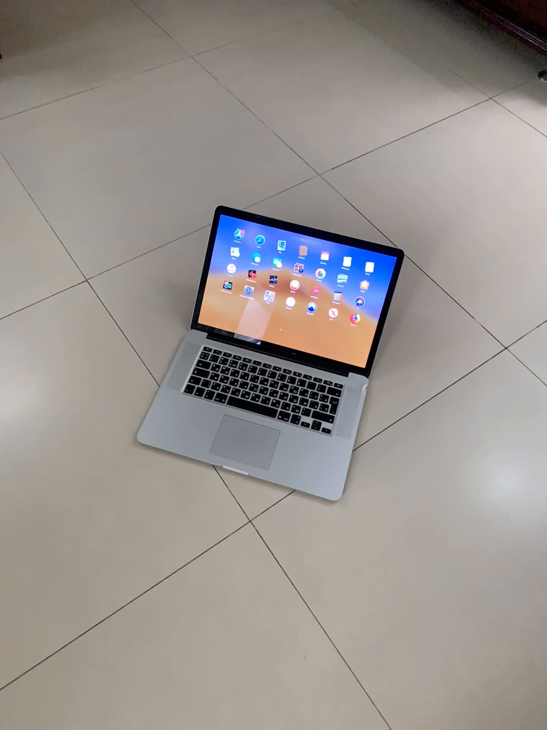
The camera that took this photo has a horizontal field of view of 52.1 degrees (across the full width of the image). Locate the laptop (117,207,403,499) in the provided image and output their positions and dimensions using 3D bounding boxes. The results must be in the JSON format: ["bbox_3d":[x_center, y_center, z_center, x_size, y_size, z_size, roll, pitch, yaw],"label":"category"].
[{"bbox_3d":[-0.001,-0.037,0.968,0.352,0.162,0.416,15,57,6],"label":"laptop"}]
